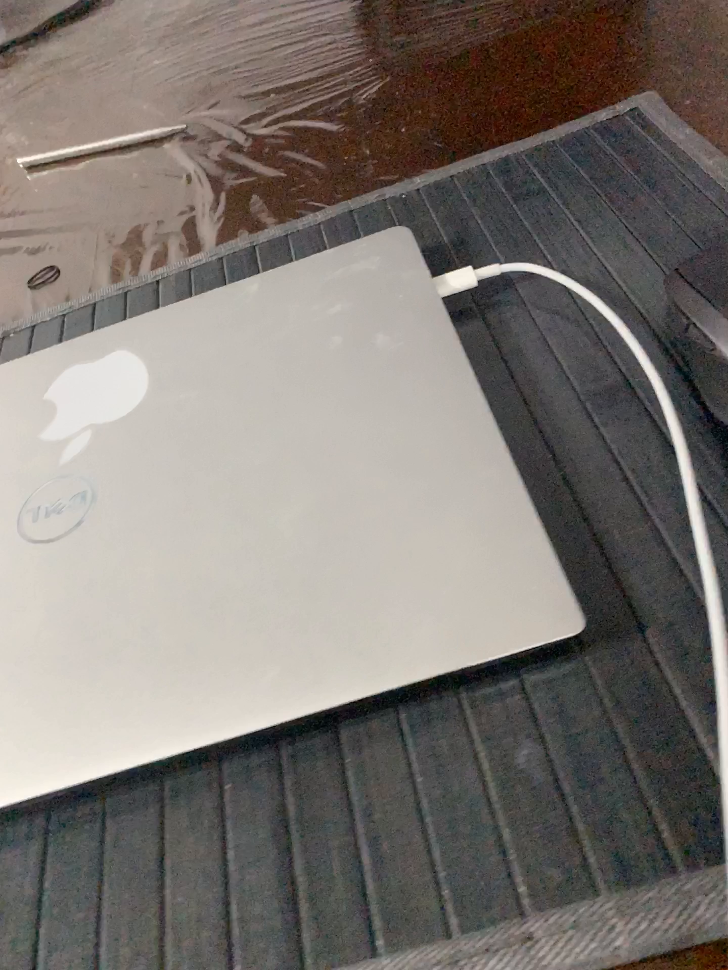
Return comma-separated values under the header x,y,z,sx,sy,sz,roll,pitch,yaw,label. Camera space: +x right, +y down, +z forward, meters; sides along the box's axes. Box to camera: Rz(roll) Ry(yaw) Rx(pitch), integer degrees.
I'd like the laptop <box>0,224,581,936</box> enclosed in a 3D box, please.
x,y,z,sx,sy,sz,roll,pitch,yaw,label
-0.096,0.006,0.247,0.271,0.001,0.189,-18,48,5,laptop
